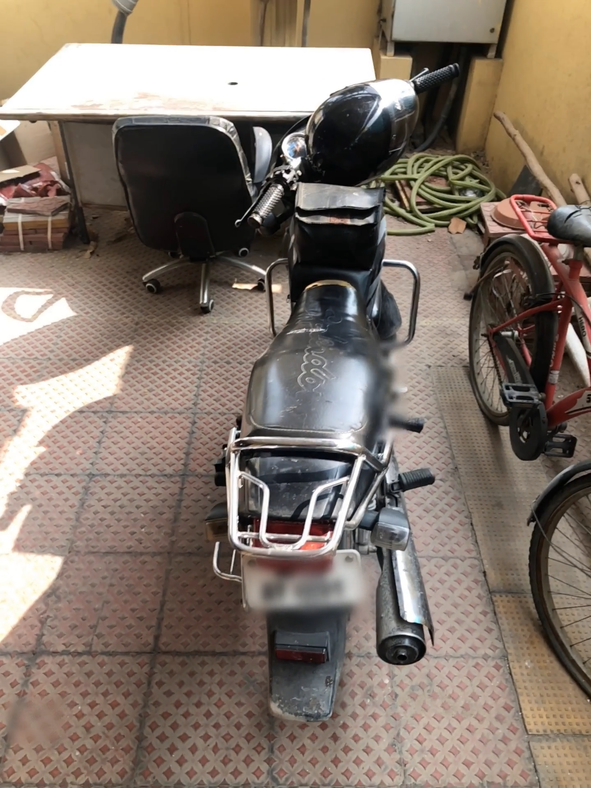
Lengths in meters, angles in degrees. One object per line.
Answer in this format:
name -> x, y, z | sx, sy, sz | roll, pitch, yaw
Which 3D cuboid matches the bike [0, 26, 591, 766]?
bike -> -0.069, -0.164, 1.658 | 0.713, 1.027, 1.624 | 0, 41, -3
